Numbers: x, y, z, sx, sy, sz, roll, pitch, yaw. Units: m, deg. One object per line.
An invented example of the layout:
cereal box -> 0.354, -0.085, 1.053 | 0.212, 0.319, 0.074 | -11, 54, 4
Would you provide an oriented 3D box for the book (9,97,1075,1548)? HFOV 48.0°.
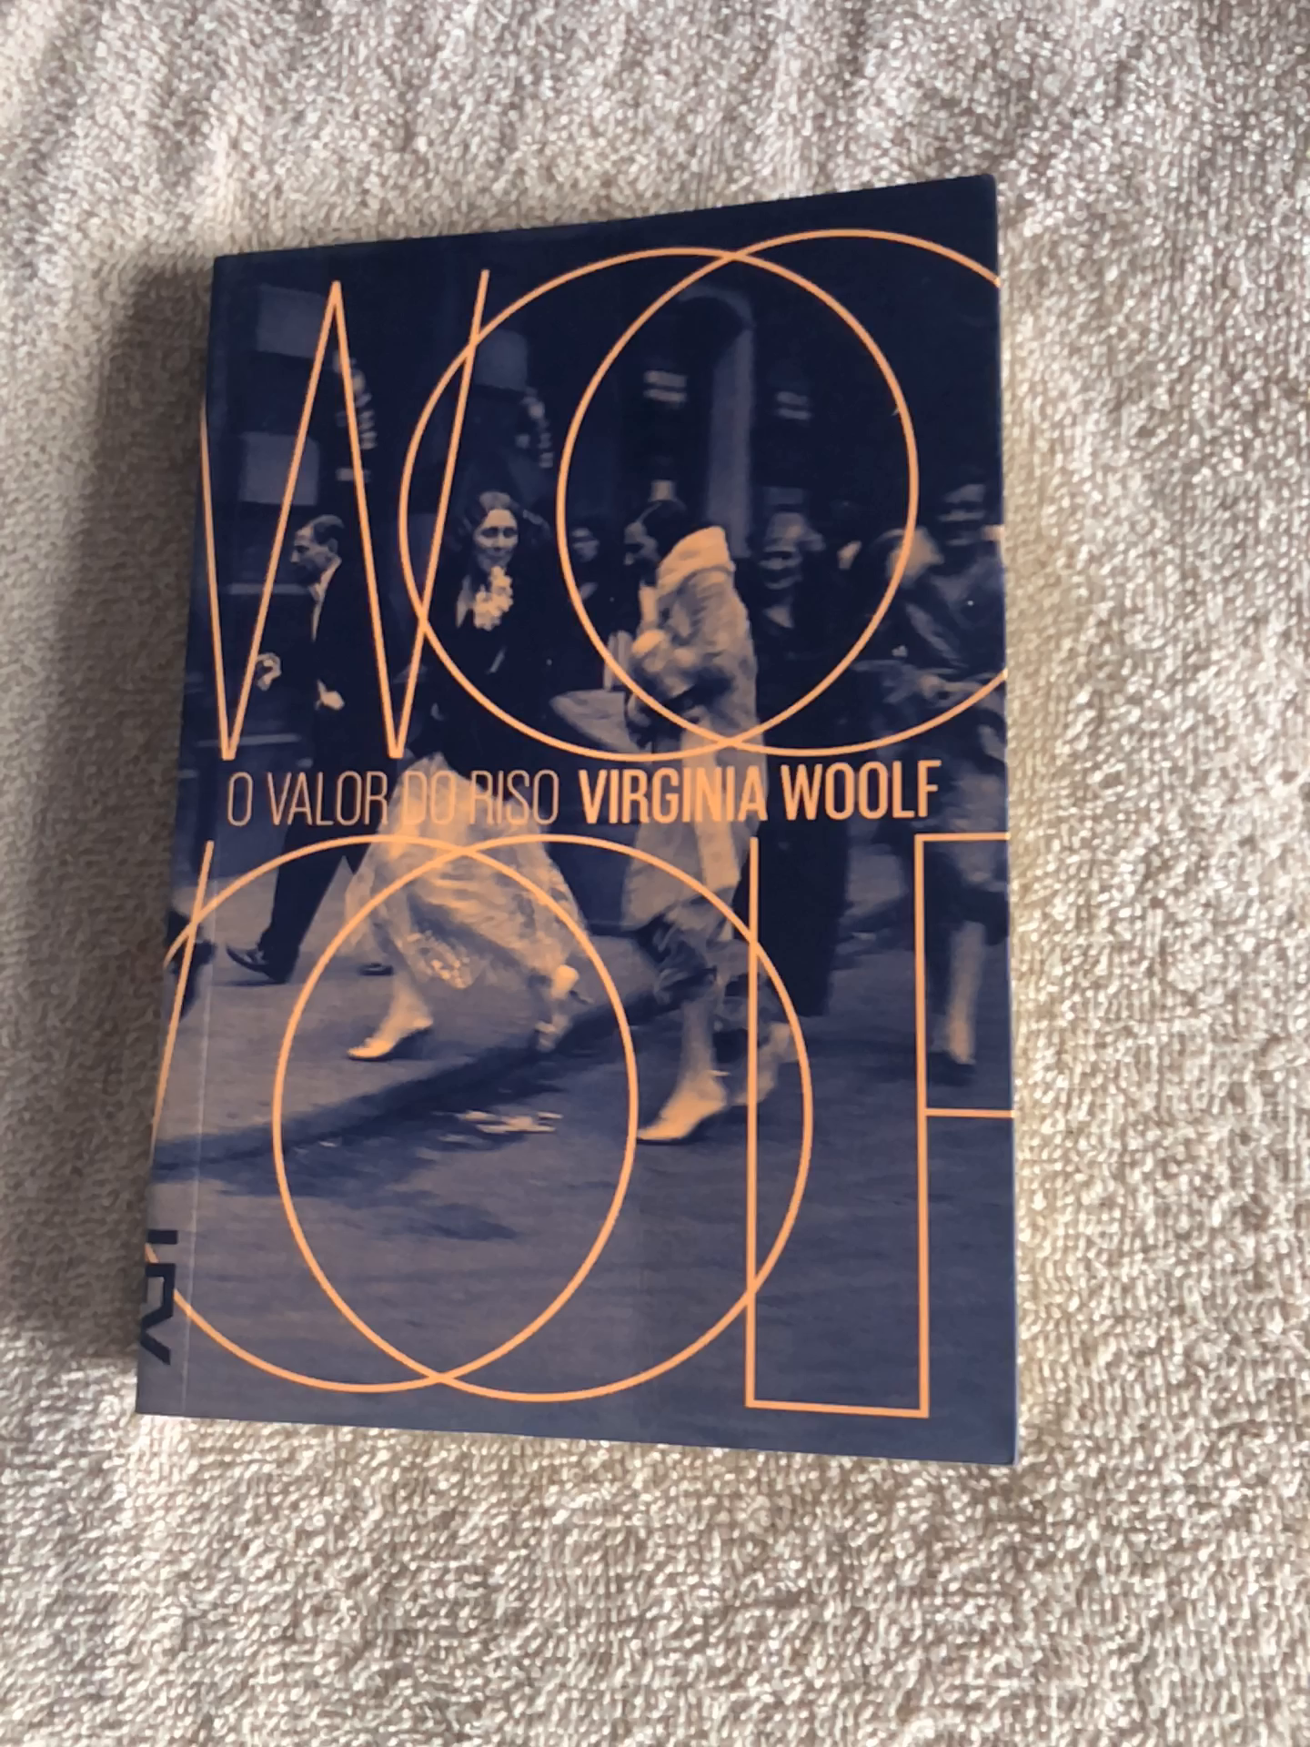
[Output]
book -> -0.013, -0.009, 0.224 | 0.140, 0.050, 0.190 | 0, 85, 6
